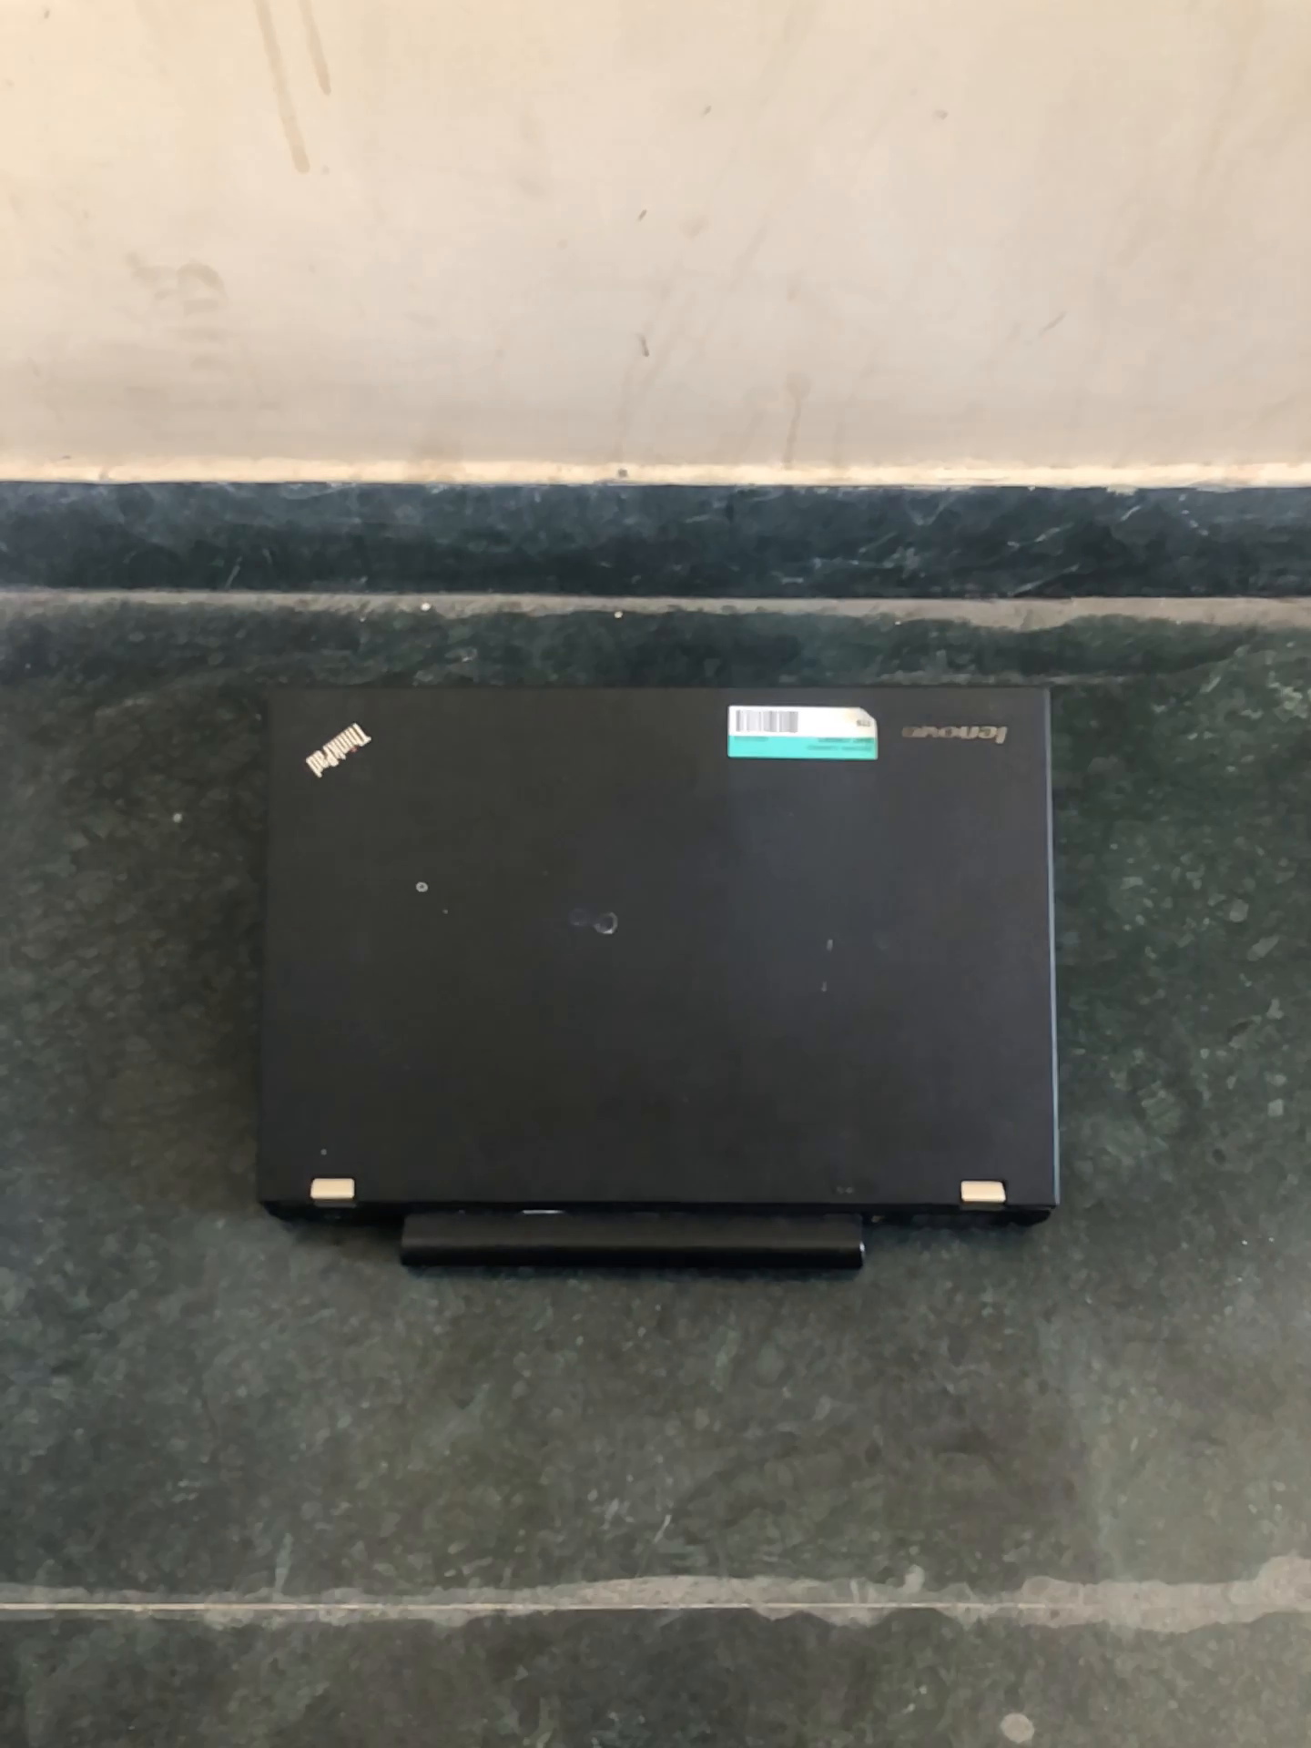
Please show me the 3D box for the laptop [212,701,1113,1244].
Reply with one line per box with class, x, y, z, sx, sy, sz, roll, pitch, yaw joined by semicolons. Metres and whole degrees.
laptop;0.006;0.042;0.661;0.349;0.094;0.228;1;58;-1
